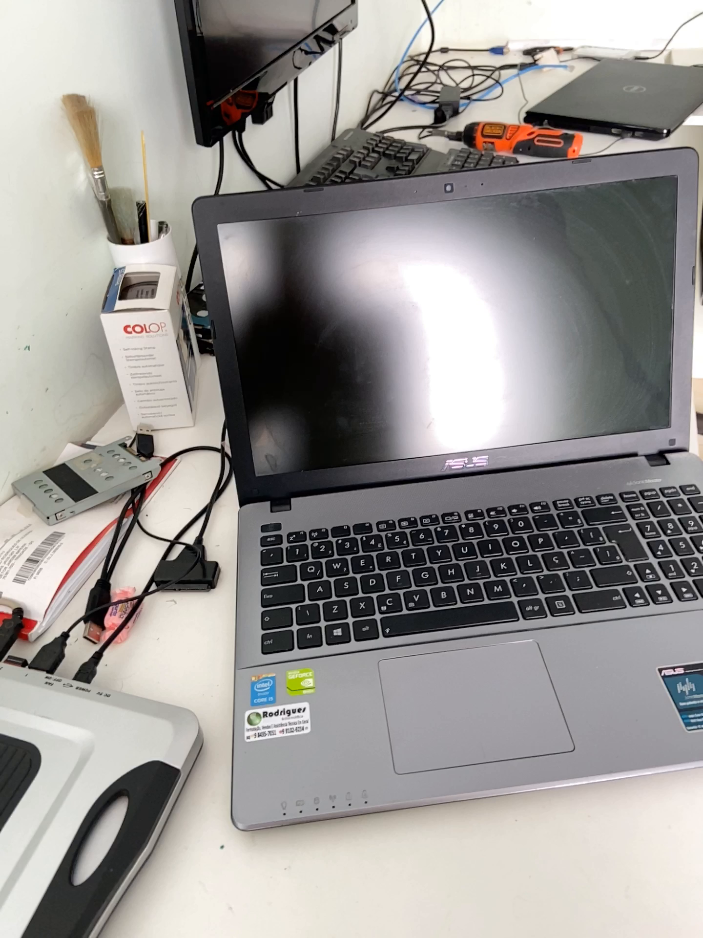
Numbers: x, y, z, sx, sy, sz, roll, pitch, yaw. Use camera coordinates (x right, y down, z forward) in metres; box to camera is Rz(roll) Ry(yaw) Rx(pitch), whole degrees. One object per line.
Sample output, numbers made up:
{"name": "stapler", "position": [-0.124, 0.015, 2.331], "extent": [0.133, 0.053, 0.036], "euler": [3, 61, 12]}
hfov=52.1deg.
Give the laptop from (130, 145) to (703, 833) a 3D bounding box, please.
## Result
{"name": "laptop", "position": [0.096, -0.022, 0.467], "extent": [0.376, 0.213, 0.358], "euler": [-7, 41, -2]}
